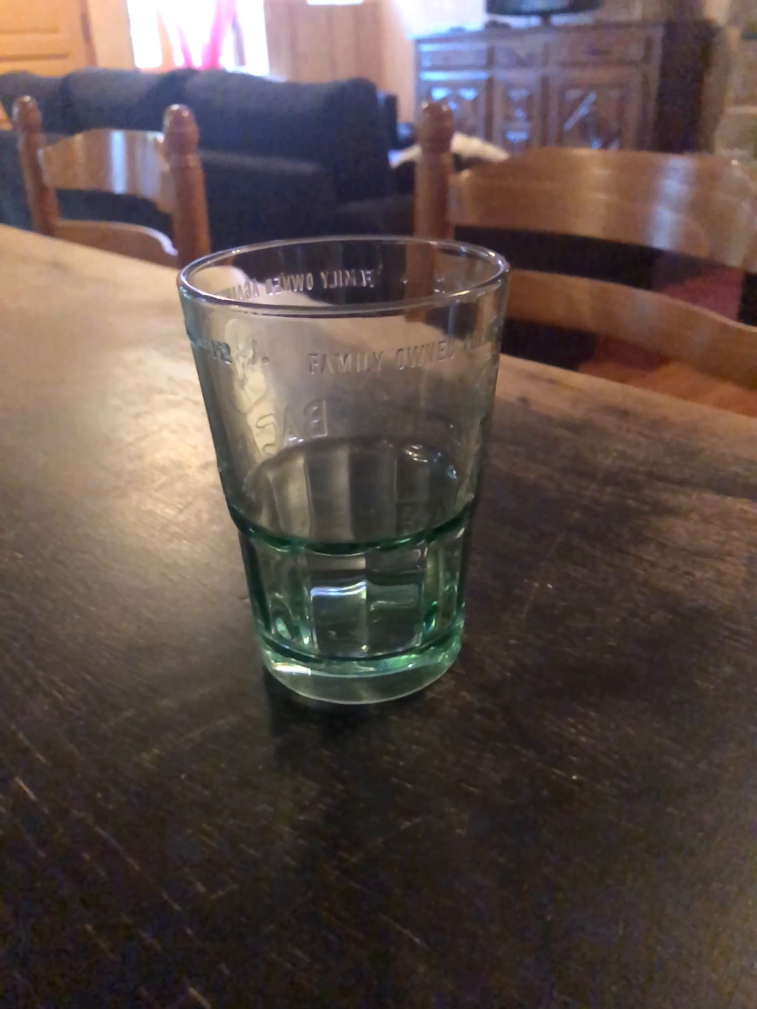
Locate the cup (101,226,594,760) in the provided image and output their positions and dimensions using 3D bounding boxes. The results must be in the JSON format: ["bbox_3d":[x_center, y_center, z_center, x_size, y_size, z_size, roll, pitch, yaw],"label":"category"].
[{"bbox_3d":[-0.005,-0.013,0.231,0.089,0.103,0.083,-1,27,1],"label":"cup"}]
